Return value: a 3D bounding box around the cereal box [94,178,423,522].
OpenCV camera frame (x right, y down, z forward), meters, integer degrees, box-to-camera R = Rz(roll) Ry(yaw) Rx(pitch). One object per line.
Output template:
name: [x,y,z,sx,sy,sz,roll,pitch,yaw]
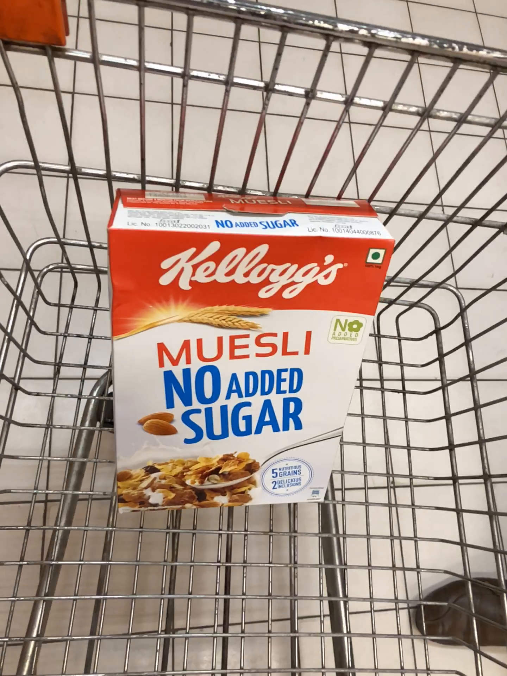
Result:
cereal box: [-0.013,0.024,0.421,0.190,0.259,0.070,0,37,-12]
